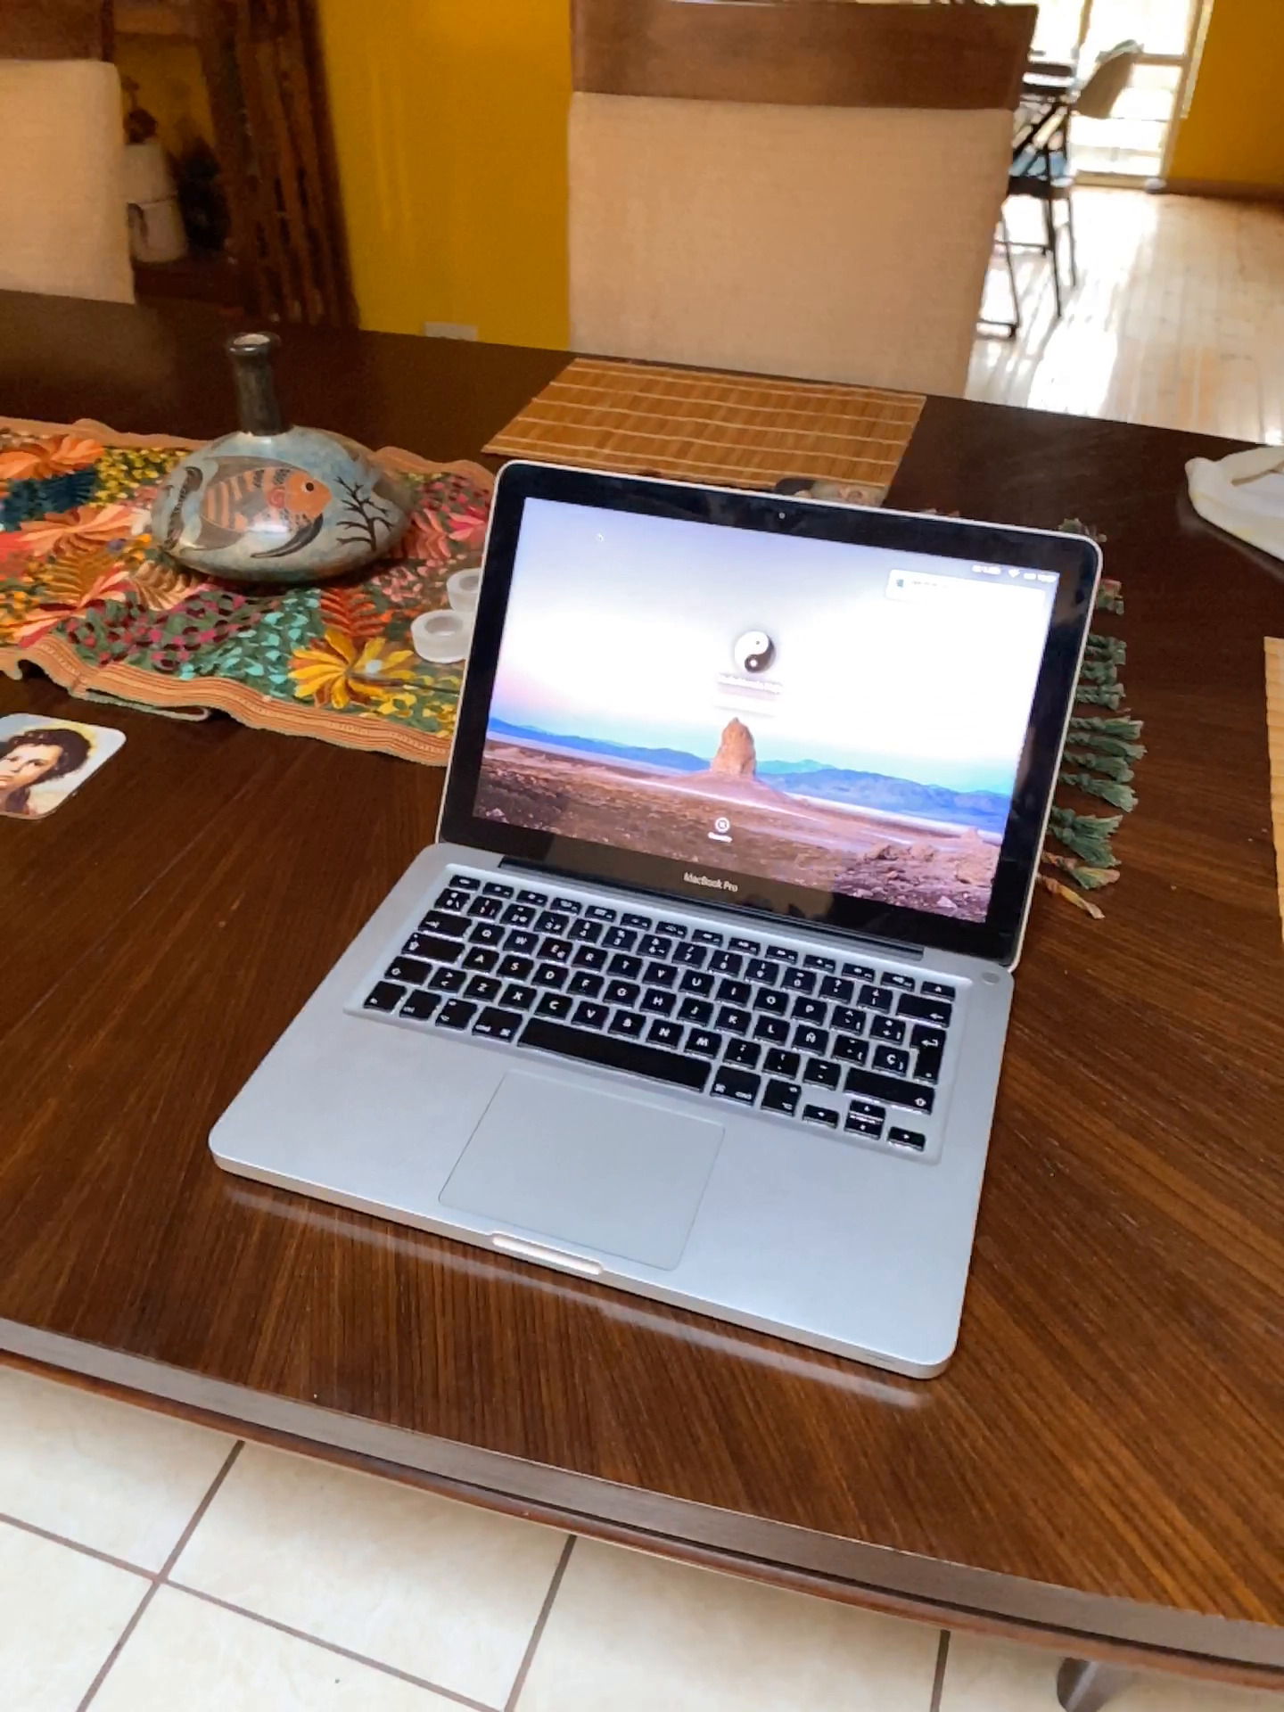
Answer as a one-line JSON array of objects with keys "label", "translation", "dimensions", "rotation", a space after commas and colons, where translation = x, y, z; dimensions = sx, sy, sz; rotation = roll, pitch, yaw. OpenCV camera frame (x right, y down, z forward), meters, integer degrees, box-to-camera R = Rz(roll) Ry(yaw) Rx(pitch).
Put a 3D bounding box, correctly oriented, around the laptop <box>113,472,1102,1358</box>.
[{"label": "laptop", "translation": [0.019, -0.012, 0.623], "dimensions": [0.324, 0.170, 0.359], "rotation": [12, 40, 15]}]
